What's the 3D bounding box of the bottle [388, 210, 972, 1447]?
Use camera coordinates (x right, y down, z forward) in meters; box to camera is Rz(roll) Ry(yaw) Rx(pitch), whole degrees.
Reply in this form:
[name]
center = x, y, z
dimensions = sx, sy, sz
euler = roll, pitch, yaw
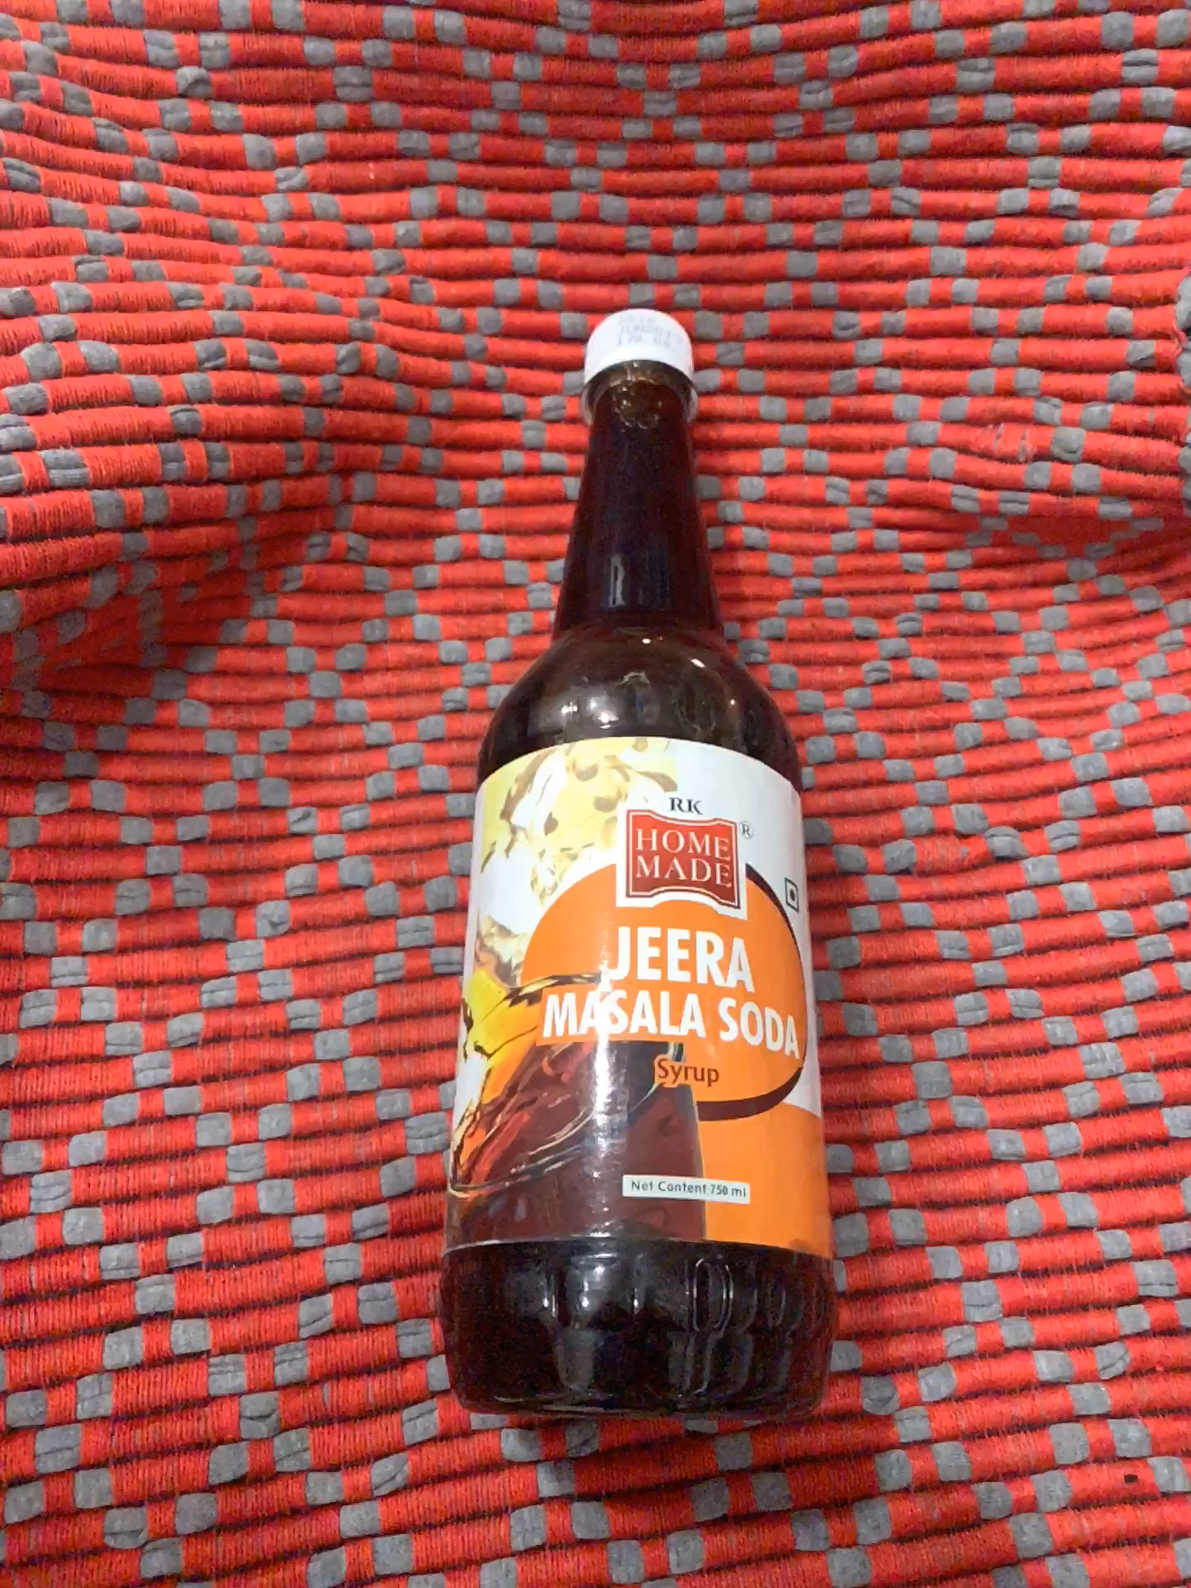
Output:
[bottle]
center = 0.011, -0.007, 0.270
dimensions = 0.080, 0.070, 0.260
euler = 8, 59, -11
